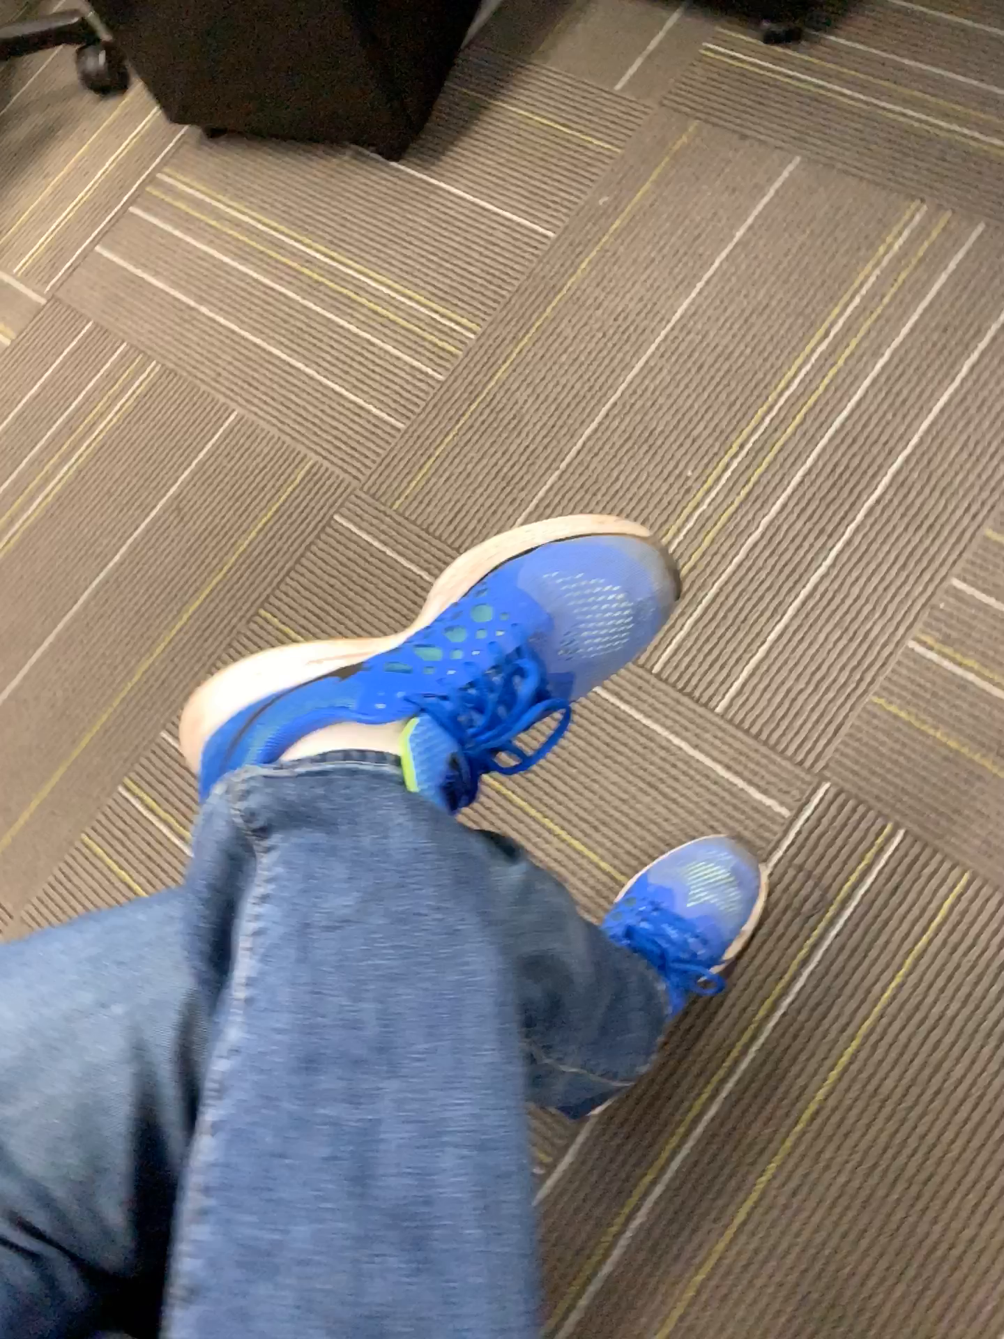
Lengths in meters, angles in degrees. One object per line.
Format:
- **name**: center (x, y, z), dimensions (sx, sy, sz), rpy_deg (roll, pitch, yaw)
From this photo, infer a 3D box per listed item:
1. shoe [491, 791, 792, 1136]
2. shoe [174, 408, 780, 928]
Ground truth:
- **shoe**: center (0.128, 0.257, 0.912), dimensions (0.101, 0.086, 0.283), rpy_deg (37, 84, 24)
- **shoe**: center (-0.016, 0.002, 0.536), dimensions (0.275, 0.117, 0.103), rpy_deg (-29, 41, 4)
